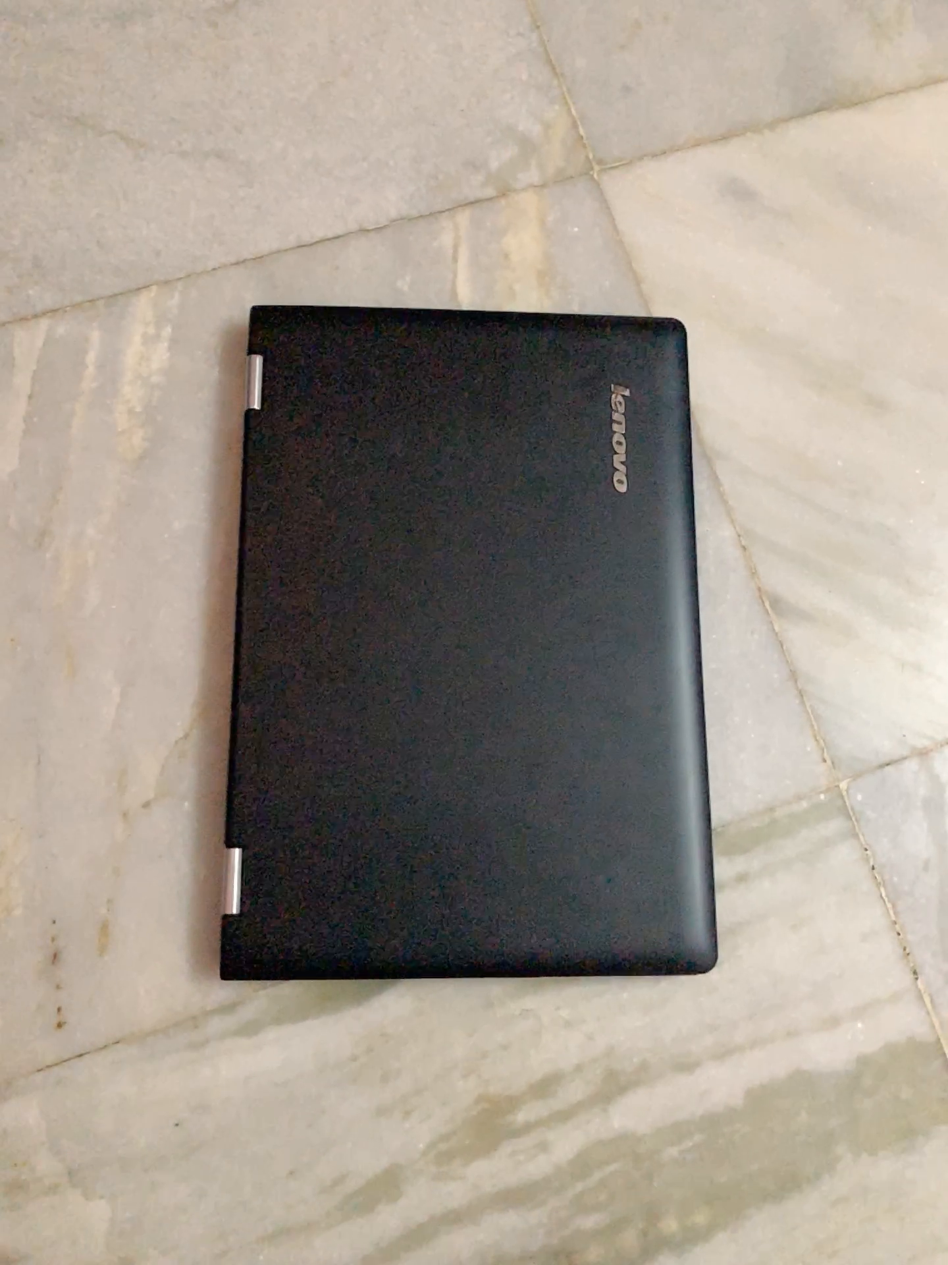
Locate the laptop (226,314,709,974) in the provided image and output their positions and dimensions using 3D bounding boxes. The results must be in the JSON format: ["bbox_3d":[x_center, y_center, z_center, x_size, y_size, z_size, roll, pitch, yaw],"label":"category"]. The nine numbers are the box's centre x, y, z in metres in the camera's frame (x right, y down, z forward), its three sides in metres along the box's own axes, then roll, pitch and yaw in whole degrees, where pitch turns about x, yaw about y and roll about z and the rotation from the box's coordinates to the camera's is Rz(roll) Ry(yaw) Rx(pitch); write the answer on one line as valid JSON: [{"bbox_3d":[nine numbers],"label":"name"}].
[{"bbox_3d":[-0.001,-0.004,0.478,0.223,0.001,0.325,1,79,-4],"label":"laptop"}]
